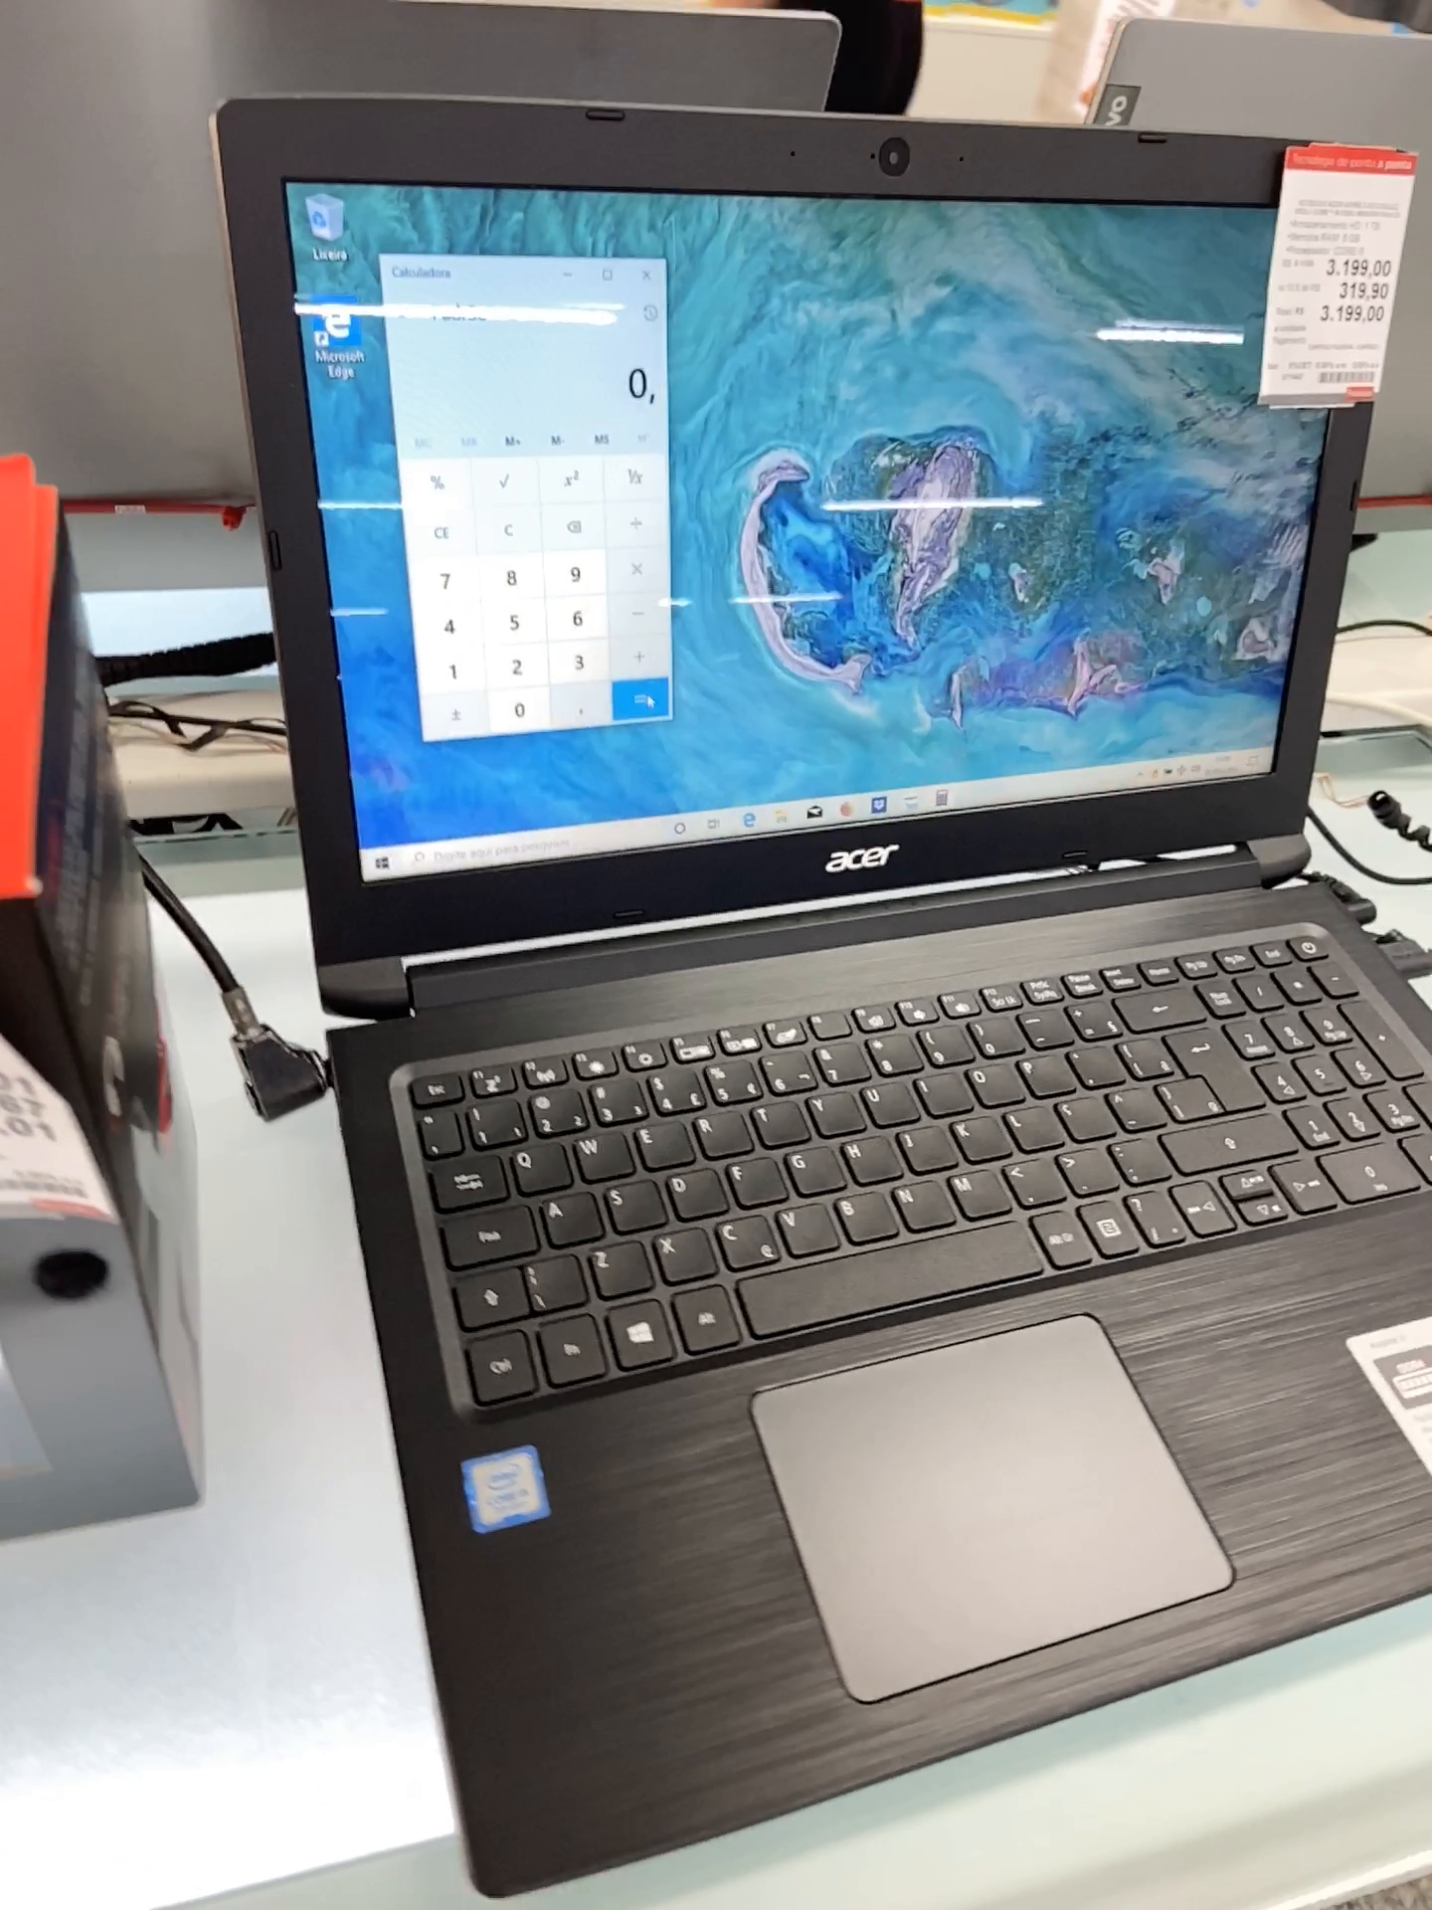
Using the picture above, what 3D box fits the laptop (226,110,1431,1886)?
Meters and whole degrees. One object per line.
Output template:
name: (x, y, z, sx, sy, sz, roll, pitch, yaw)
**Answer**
laptop: (0.090, -0.037, 0.394, 0.375, 0.227, 0.354, -8, 48, -17)
